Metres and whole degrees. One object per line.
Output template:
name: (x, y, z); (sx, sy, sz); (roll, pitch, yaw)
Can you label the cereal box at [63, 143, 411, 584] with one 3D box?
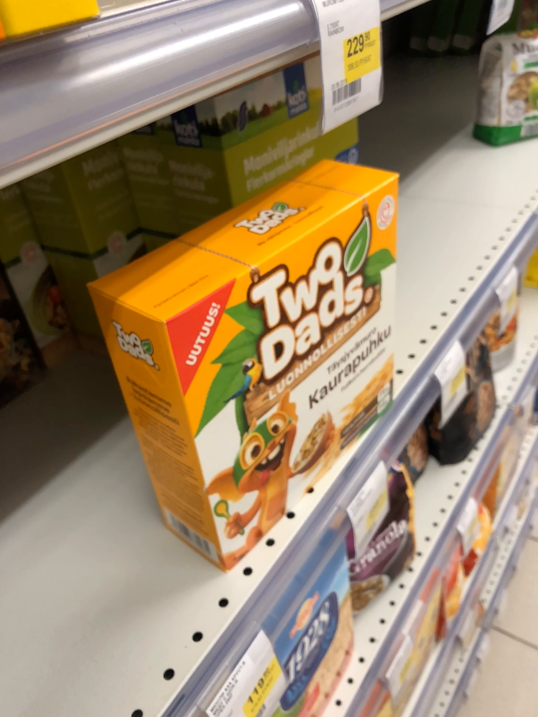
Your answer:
cereal box: (0.005, -0.005, 0.379); (0.070, 0.189, 0.201); (22, 46, 36)
